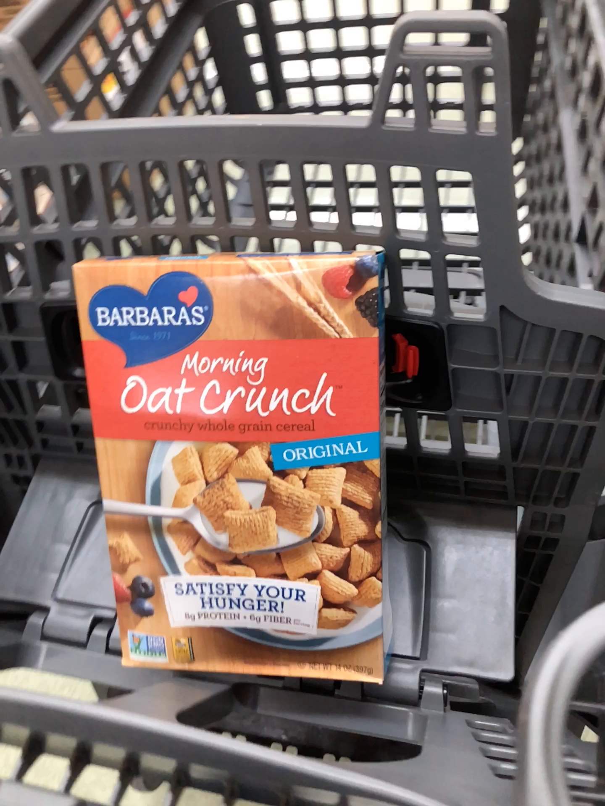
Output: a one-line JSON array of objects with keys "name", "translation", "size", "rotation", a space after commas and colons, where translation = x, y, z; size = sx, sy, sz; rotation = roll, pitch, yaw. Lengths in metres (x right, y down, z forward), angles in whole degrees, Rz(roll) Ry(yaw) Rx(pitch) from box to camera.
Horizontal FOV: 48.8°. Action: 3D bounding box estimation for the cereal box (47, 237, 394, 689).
[{"name": "cereal box", "translation": [-0.038, 0.038, 0.409], "size": [0.180, 0.260, 0.060], "rotation": [0, 16, 10]}]
